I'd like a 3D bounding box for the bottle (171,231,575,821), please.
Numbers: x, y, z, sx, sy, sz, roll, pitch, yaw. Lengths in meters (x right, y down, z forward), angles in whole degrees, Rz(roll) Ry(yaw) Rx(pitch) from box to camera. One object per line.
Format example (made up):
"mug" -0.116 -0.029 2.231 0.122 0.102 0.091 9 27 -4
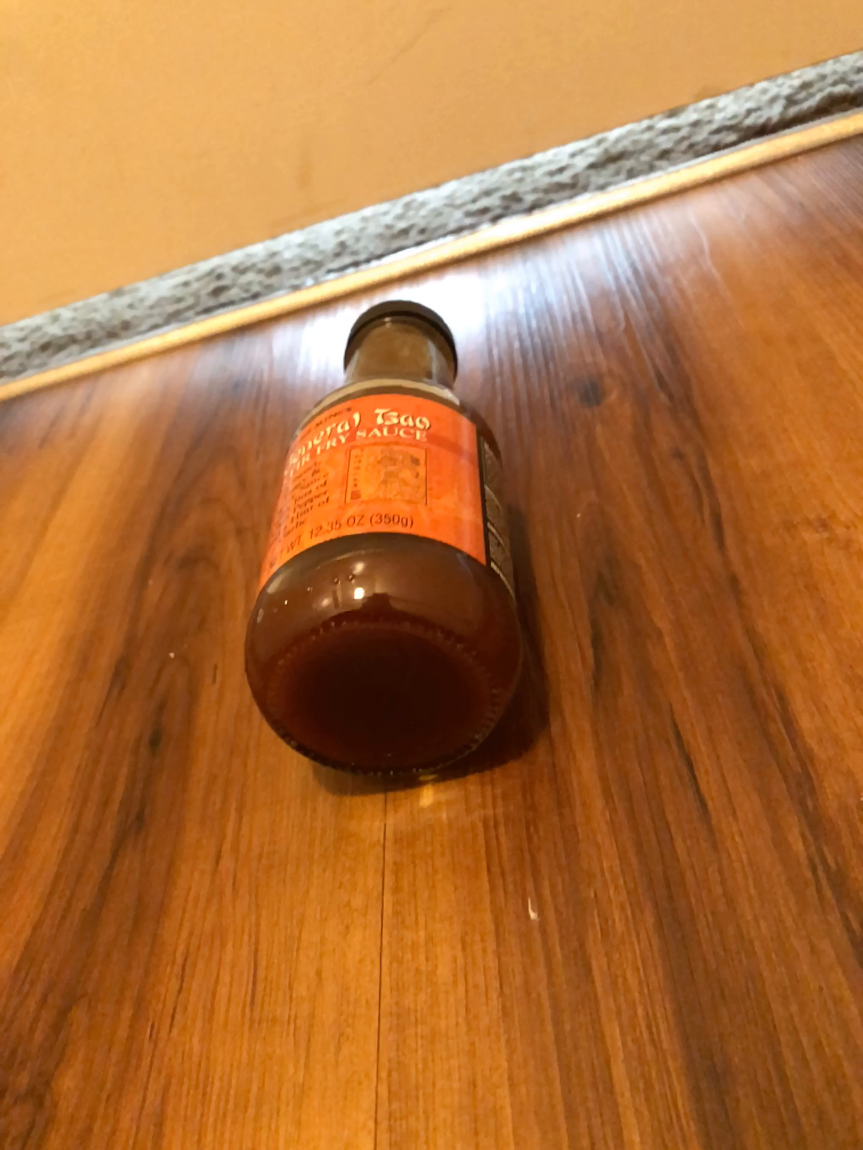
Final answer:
"bottle" -0.011 -0.028 0.279 0.068 0.060 0.181 -18 36 13
